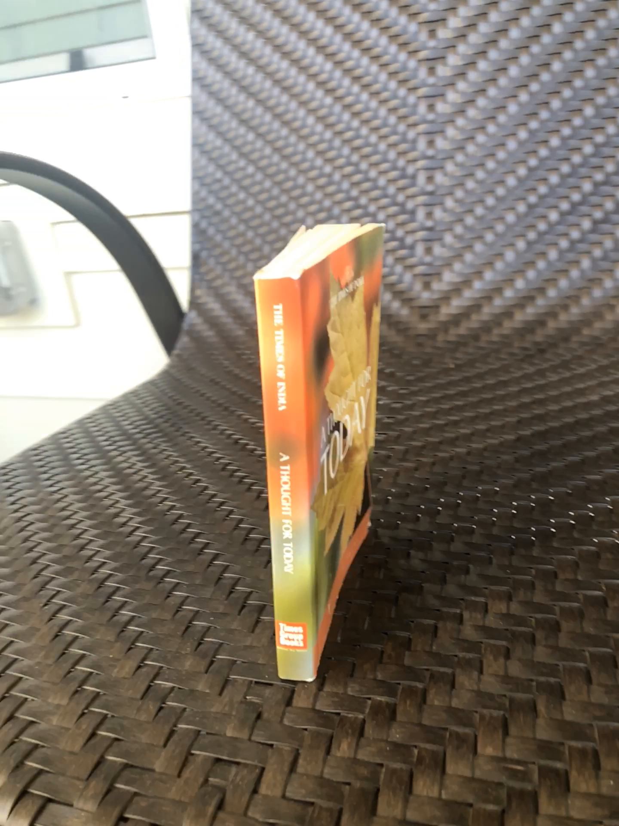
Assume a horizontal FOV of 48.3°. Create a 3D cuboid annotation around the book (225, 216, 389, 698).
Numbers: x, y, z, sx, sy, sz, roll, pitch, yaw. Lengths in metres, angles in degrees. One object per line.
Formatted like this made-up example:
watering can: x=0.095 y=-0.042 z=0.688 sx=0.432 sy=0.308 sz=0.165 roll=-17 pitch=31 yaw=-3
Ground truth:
book: x=0.008 y=0.007 z=0.237 sx=0.031 sy=0.128 sz=0.106 roll=1 pitch=24 yaw=10
